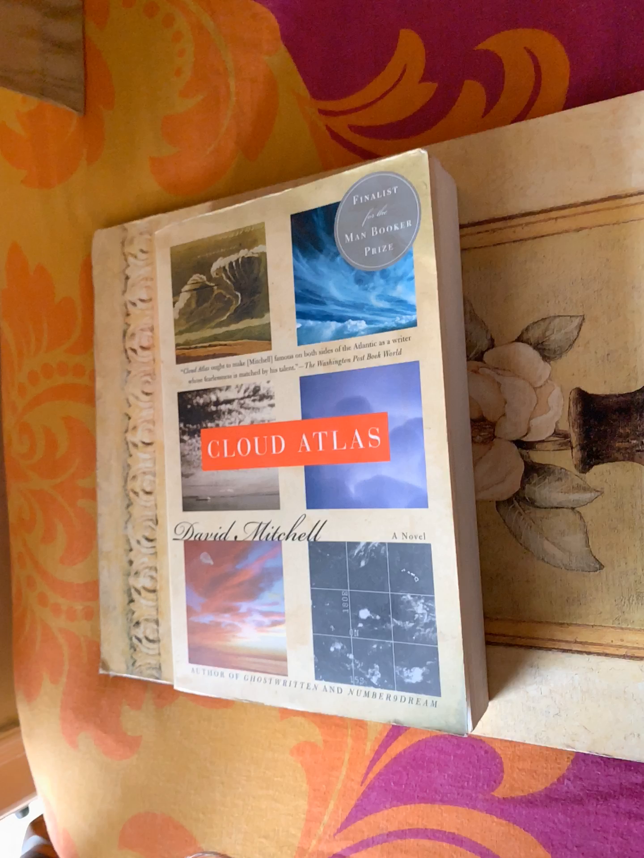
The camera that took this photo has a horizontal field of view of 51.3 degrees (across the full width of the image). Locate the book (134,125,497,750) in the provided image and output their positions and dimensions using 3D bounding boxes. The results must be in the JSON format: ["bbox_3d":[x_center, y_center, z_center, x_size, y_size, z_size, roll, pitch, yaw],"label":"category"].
[{"bbox_3d":[-0.009,0.005,0.256,0.130,0.040,0.190,-4,86,32],"label":"book"}]
